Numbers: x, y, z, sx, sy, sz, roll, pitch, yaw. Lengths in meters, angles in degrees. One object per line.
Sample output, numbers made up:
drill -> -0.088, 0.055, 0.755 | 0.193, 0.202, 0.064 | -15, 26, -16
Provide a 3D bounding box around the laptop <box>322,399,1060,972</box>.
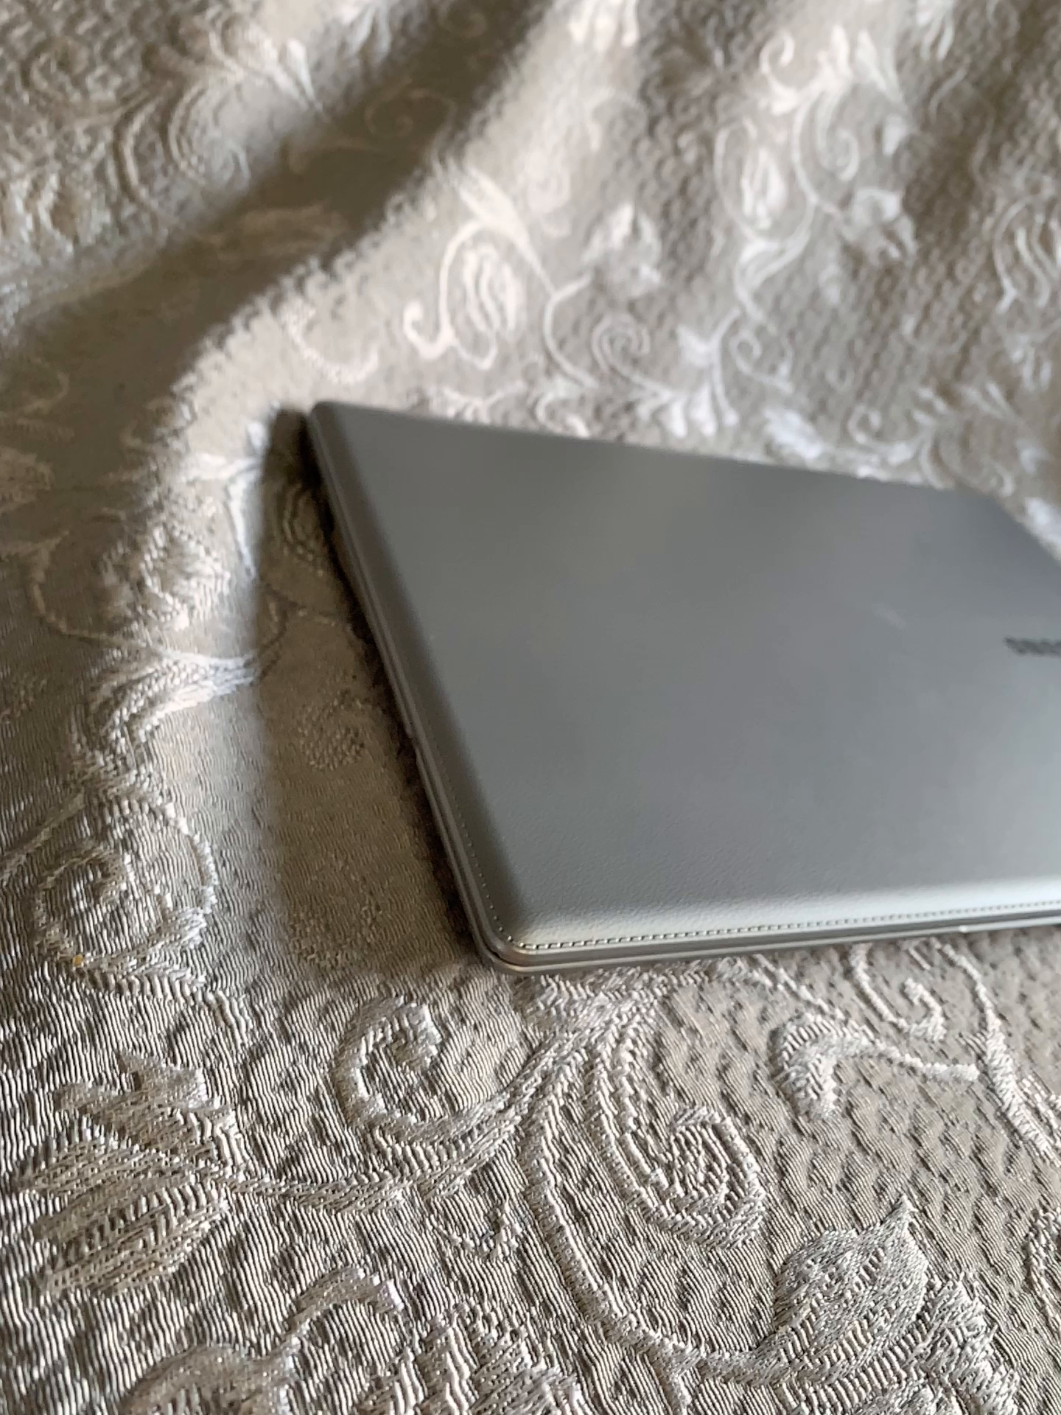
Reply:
laptop -> 0.087, -0.016, 0.315 | 0.264, 0.005, 0.176 | 1, 47, -28
